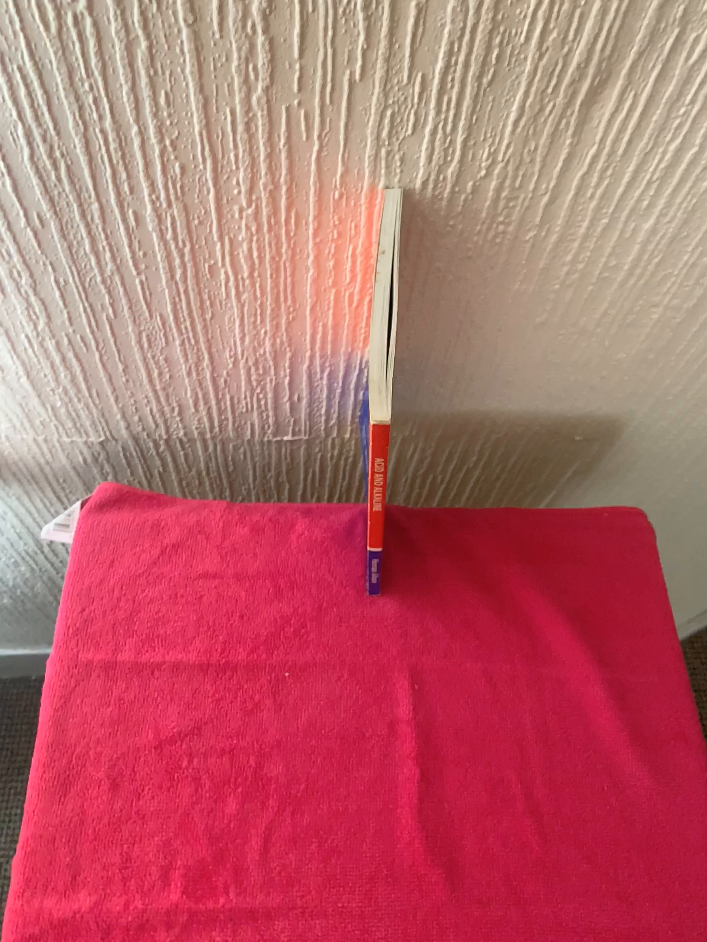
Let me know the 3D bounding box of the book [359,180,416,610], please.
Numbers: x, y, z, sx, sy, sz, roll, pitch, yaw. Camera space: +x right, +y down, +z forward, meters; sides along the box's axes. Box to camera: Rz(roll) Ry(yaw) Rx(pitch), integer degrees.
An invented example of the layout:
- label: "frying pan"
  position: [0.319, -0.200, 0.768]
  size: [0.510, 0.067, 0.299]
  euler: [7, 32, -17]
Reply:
- label: "book"
  position: [0.014, -0.026, 0.410]
  size: [0.020, 0.209, 0.151]
  euler: [0, 62, 0]
